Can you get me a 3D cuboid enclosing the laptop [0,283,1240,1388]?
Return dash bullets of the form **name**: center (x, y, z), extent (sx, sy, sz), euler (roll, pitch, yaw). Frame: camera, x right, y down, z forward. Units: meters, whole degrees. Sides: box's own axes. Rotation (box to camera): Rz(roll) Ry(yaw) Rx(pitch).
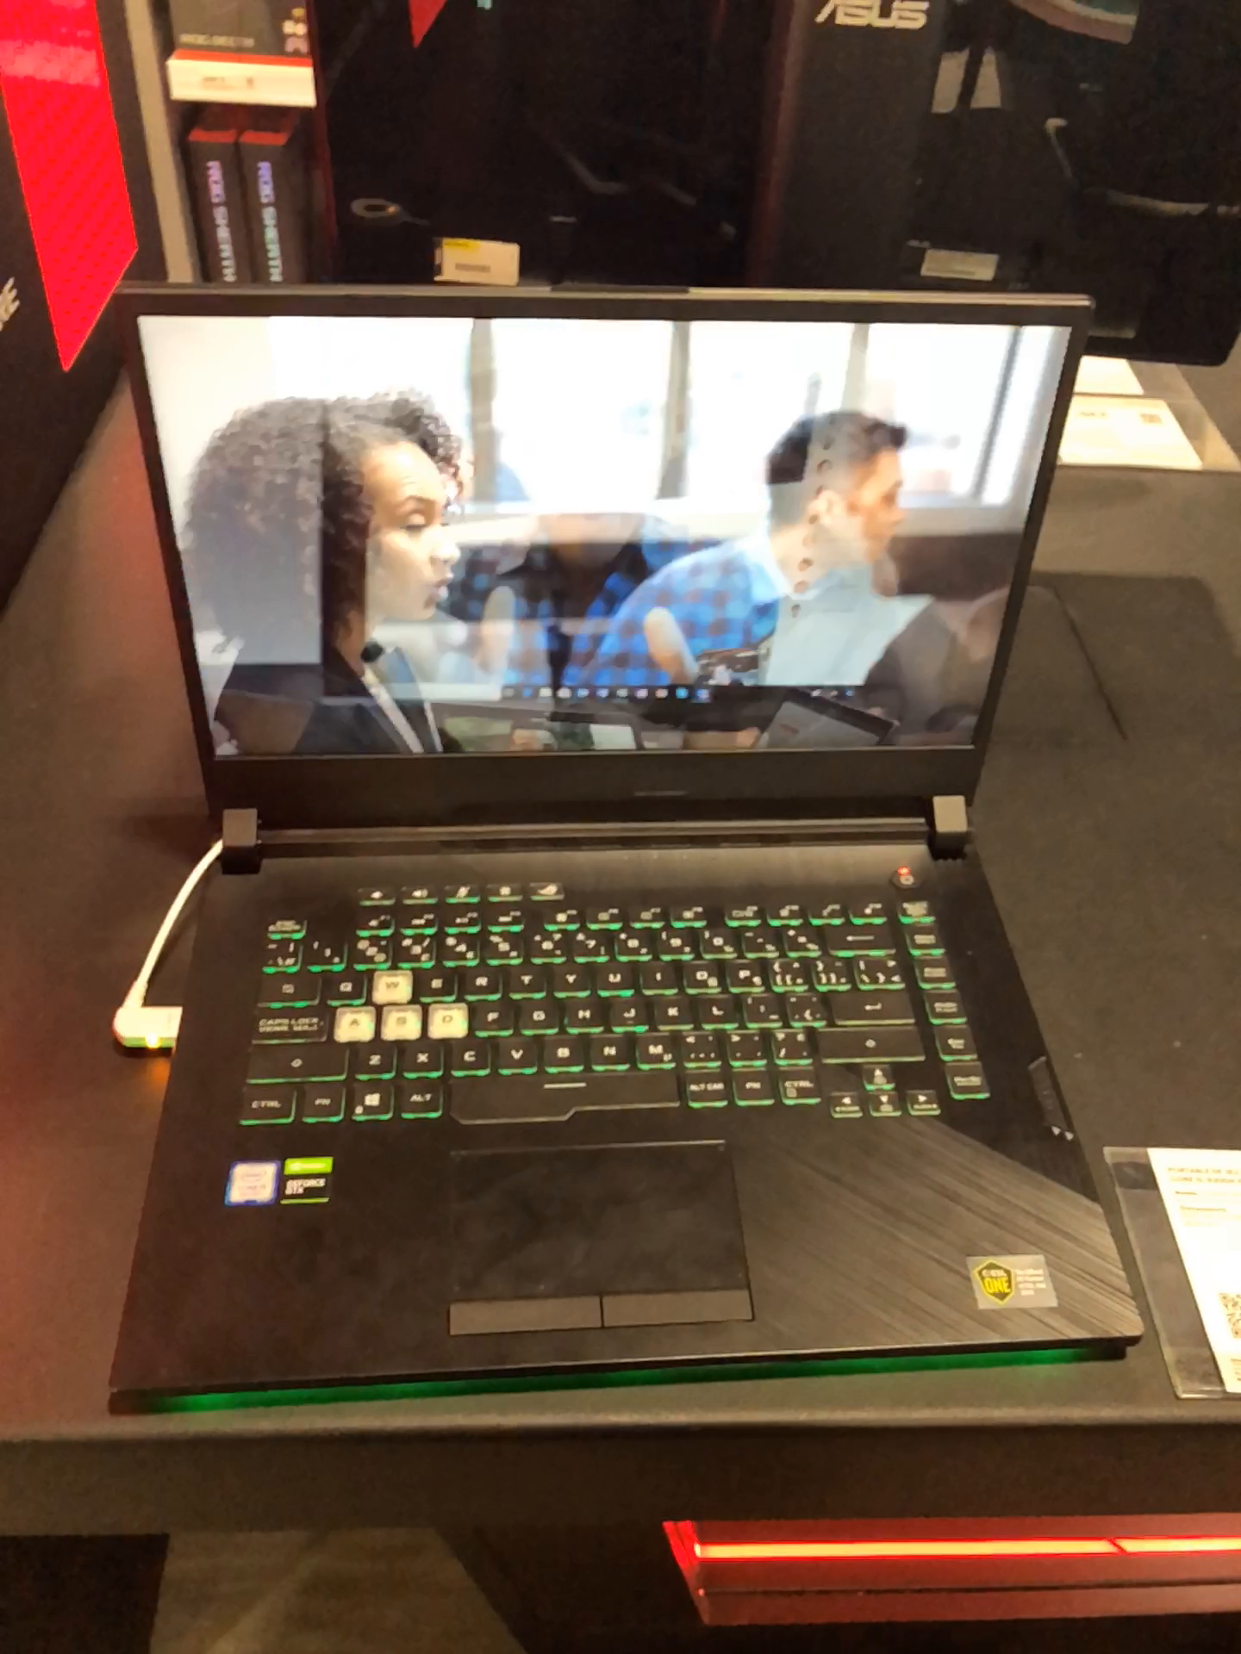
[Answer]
- **laptop**: center (0.005, -0.001, 0.494), extent (0.360, 0.268, 0.276), euler (-1, 45, -6)
